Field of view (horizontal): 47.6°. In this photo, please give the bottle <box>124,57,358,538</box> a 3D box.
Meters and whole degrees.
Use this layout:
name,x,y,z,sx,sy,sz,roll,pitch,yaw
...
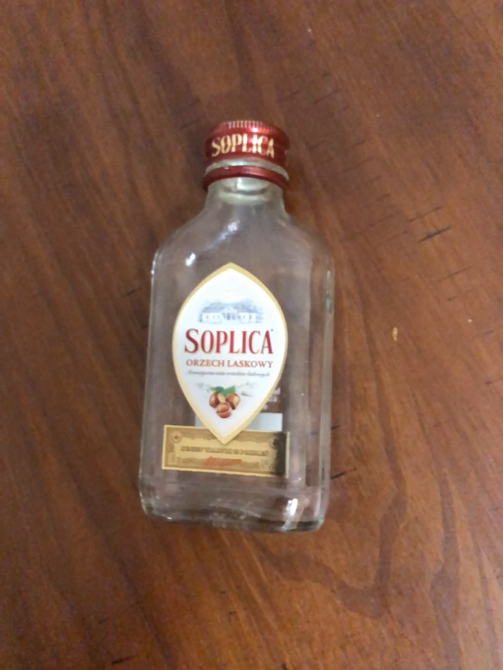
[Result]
name,x,y,z,sx,sy,sz,roll,pitch,yaw
bottle,0.000,-0.014,0.198,0.070,0.030,0.150,0,82,15
